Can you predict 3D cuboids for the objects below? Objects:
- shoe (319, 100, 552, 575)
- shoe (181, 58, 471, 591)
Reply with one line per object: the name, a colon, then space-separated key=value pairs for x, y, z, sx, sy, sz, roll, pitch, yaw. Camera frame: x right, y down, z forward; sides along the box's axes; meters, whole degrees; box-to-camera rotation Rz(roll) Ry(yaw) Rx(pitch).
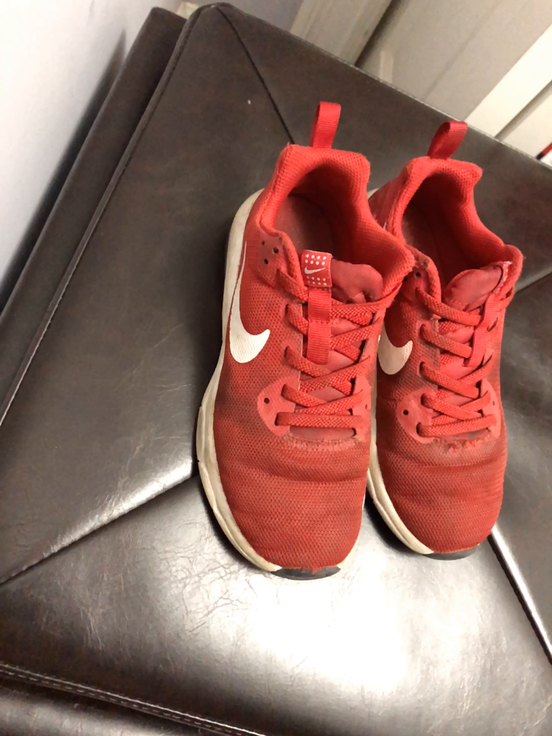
shoe: x=0.102 y=-0.012 z=0.334 sx=0.095 sy=0.100 sz=0.220 roll=-3 pitch=76 yaw=-21
shoe: x=0.014 y=-0.013 z=0.300 sx=0.095 sy=0.100 sz=0.220 roll=5 pitch=74 yaw=-18
